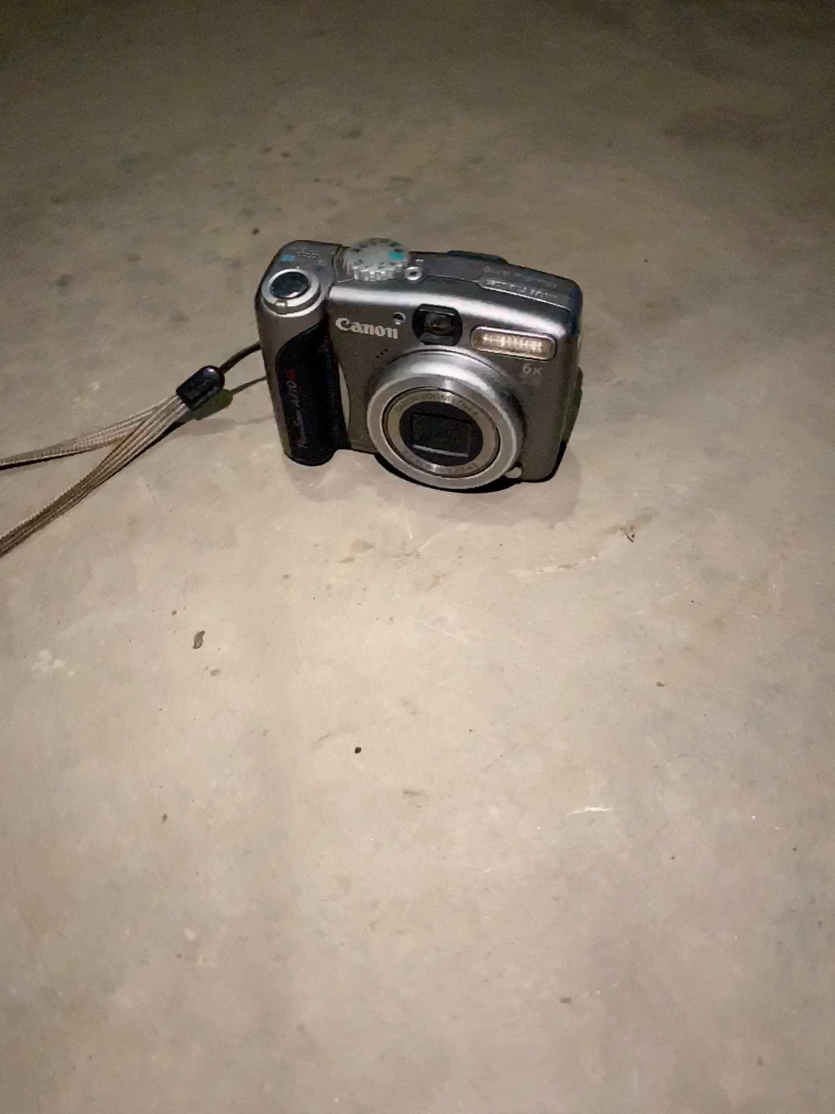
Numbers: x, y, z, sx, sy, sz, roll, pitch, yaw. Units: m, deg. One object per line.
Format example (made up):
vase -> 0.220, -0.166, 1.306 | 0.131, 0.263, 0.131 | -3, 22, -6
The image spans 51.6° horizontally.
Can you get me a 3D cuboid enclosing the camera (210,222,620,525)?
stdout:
camera -> 0.001, -0.057, 0.268 | 0.108, 0.060, 0.048 | 11, 50, 8
